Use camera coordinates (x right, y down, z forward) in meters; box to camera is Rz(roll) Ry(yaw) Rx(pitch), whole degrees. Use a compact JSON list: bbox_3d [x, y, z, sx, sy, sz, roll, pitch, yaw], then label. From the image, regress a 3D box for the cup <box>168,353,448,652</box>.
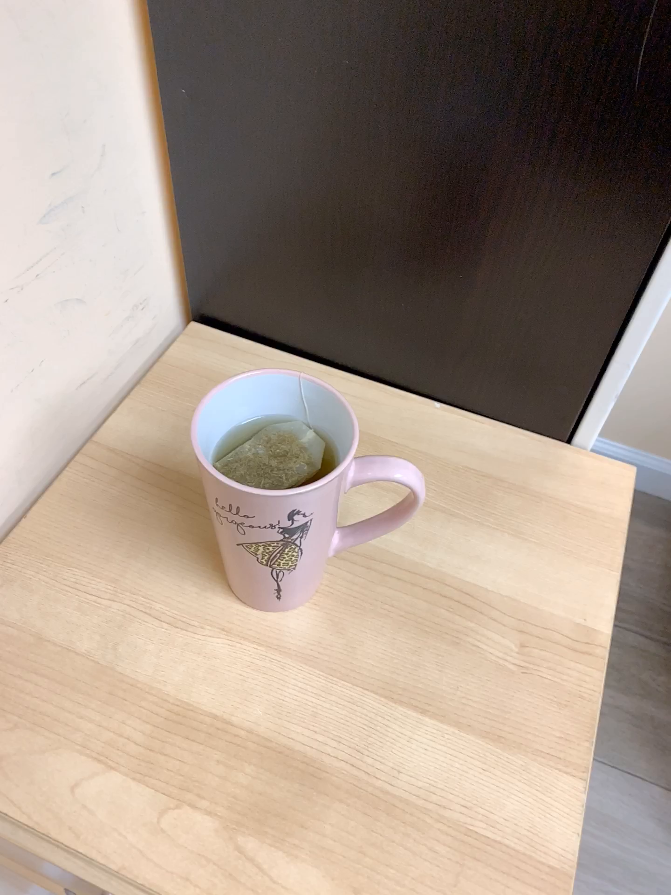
[{"bbox_3d":[-0.014,0.039,0.425,0.133,0.151,0.093,10,50,4],"label":"cup"}]
